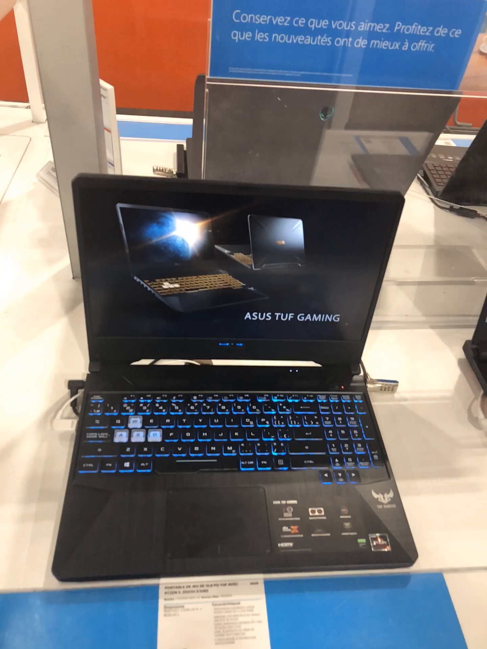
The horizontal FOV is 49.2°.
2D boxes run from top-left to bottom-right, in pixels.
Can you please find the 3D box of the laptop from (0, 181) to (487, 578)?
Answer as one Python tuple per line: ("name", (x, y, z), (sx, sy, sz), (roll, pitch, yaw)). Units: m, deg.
("laptop", (0.001, 0.044, 0.544), (0.350, 0.235, 0.302), (1, 44, -7))
